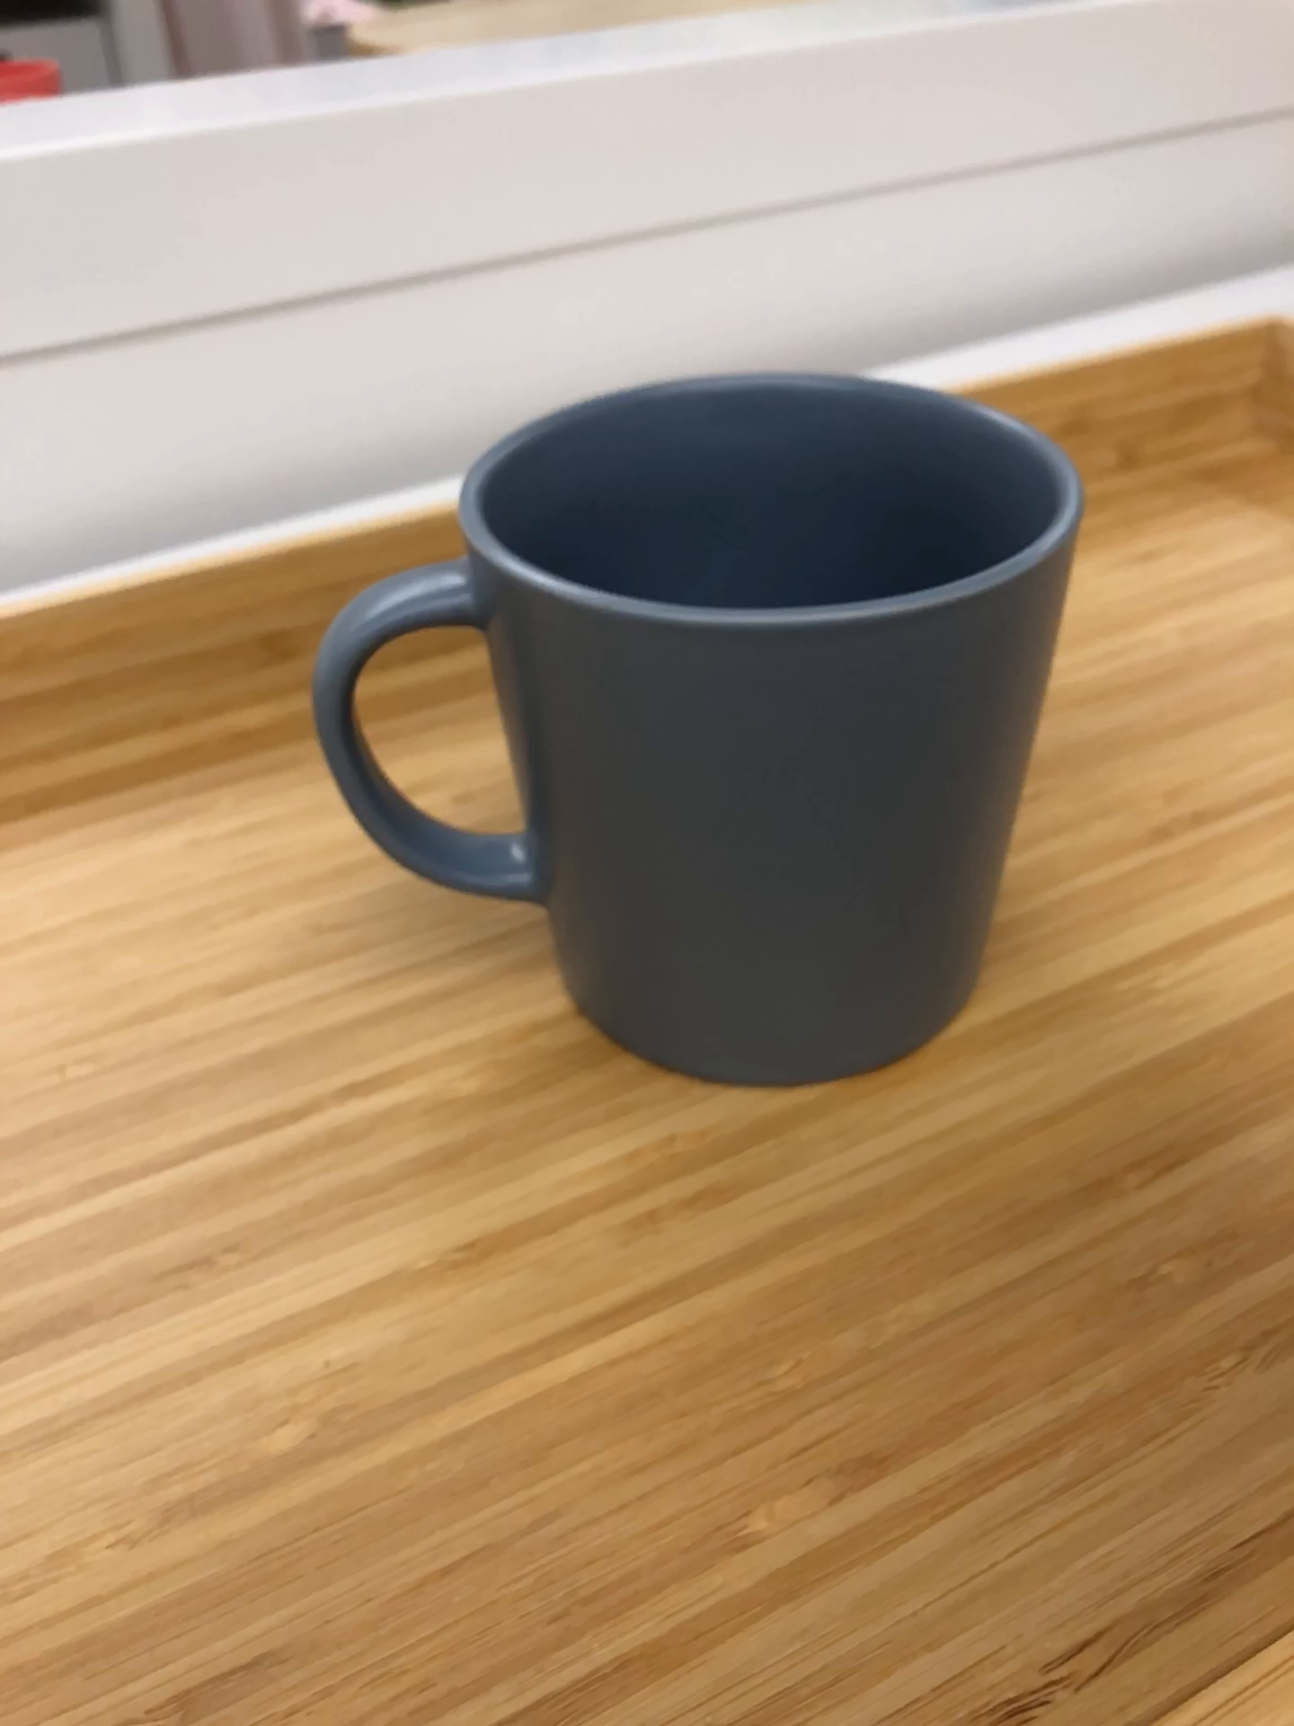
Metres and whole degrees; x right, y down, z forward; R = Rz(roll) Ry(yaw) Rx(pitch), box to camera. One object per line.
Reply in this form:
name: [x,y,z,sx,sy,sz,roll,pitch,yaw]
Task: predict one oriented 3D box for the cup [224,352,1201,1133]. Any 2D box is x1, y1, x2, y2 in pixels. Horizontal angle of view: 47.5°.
cup: [0.008,-0.023,0.243,0.120,0.090,0.090,-3,36,-1]
